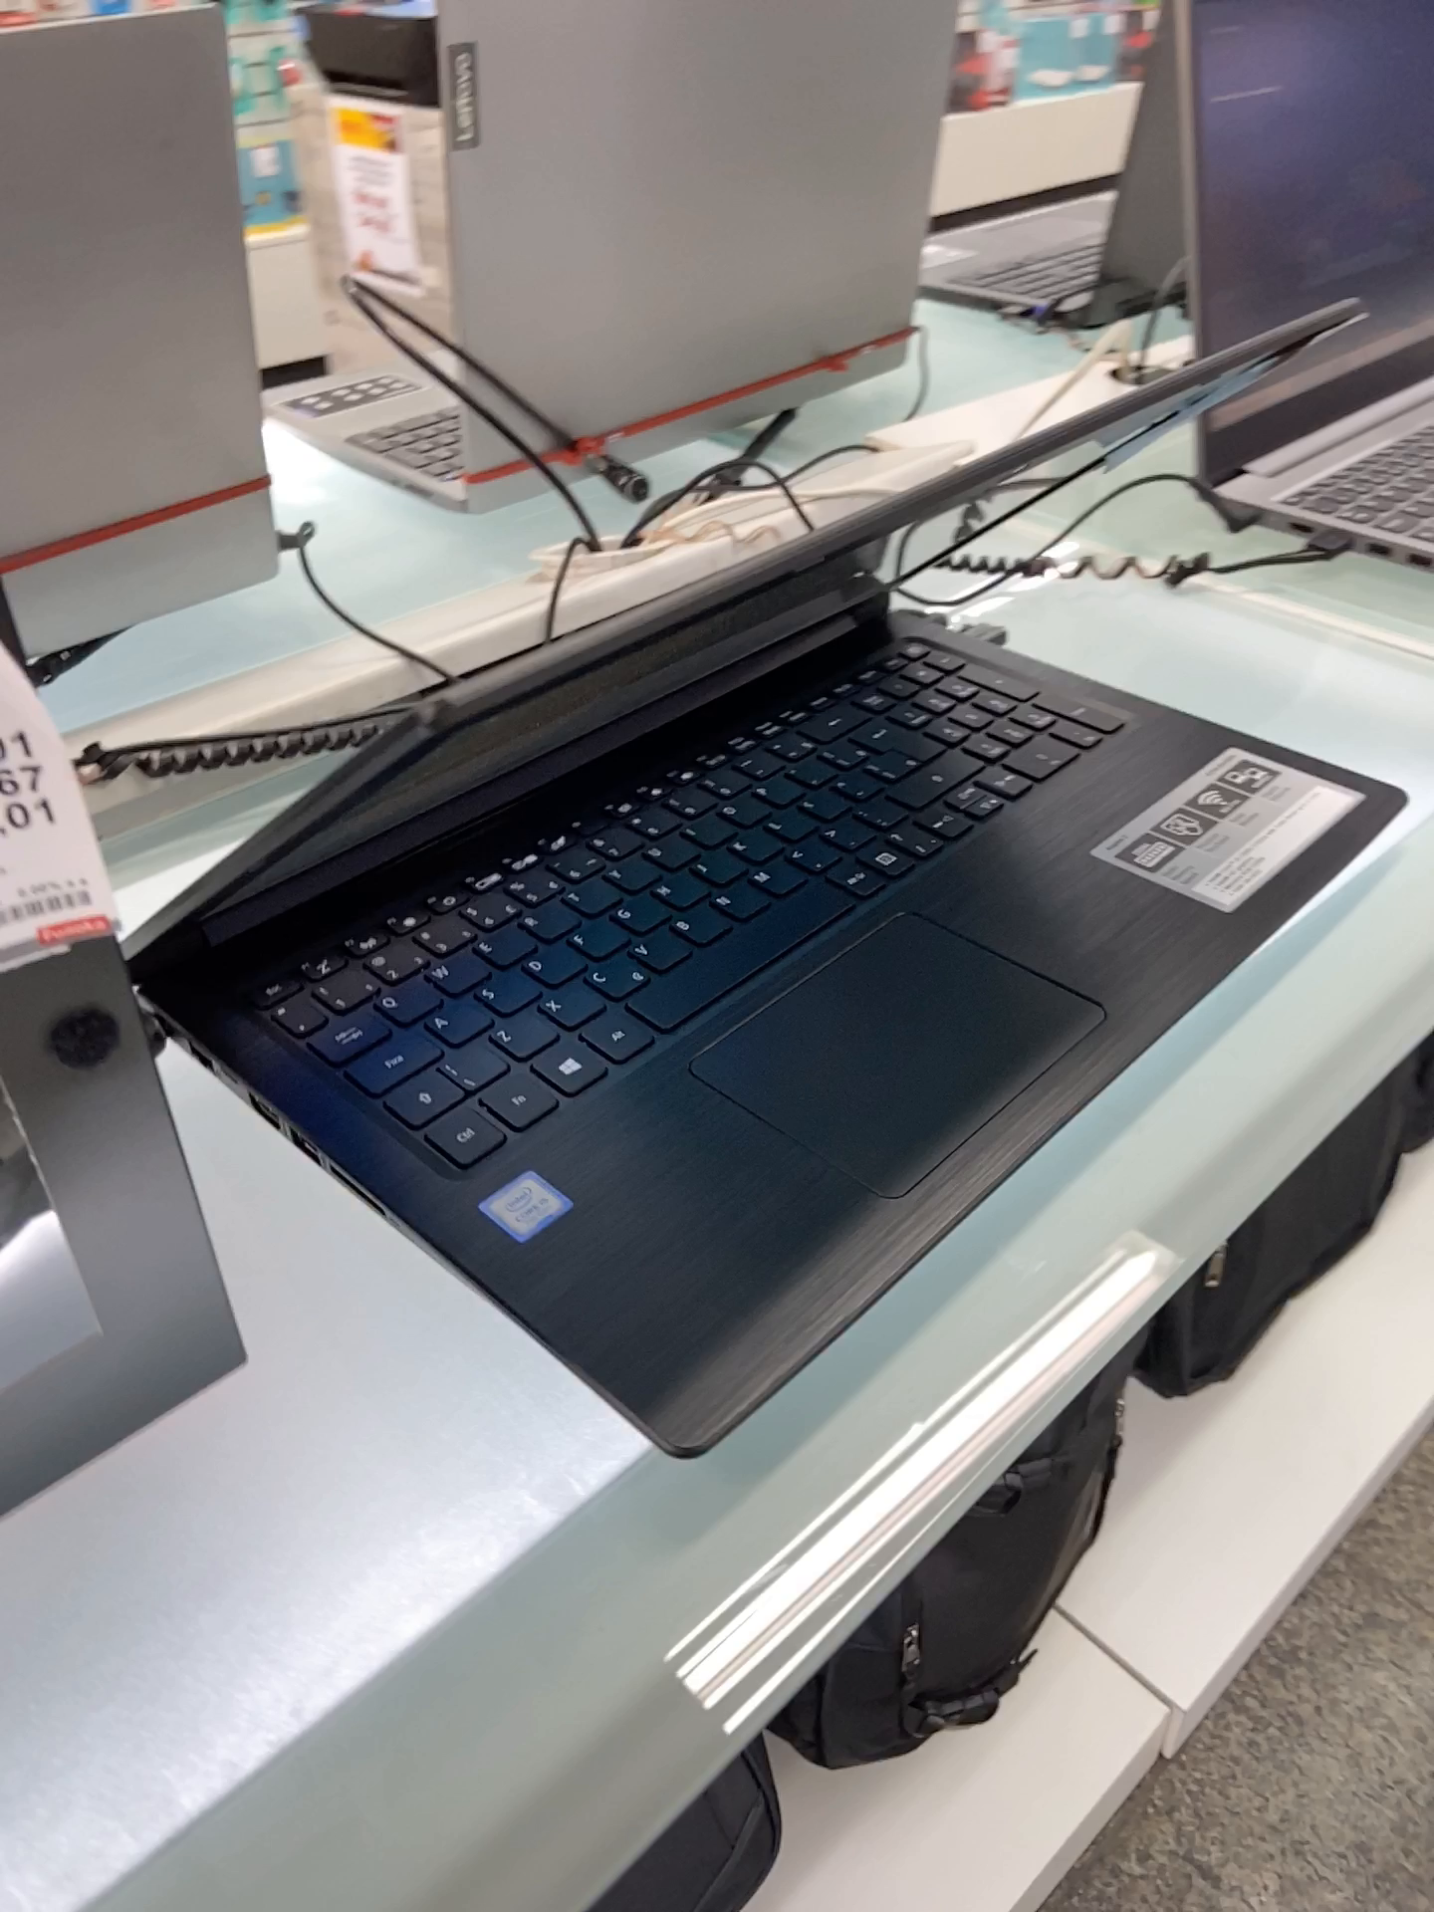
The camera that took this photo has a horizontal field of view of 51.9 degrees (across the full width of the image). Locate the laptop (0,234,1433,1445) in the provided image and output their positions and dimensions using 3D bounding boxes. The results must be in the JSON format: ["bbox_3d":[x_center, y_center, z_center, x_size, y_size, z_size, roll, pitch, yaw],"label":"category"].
[{"bbox_3d":[0.032,-0.088,0.452,0.239,0.157,0.371,30,47,34],"label":"laptop"}]
